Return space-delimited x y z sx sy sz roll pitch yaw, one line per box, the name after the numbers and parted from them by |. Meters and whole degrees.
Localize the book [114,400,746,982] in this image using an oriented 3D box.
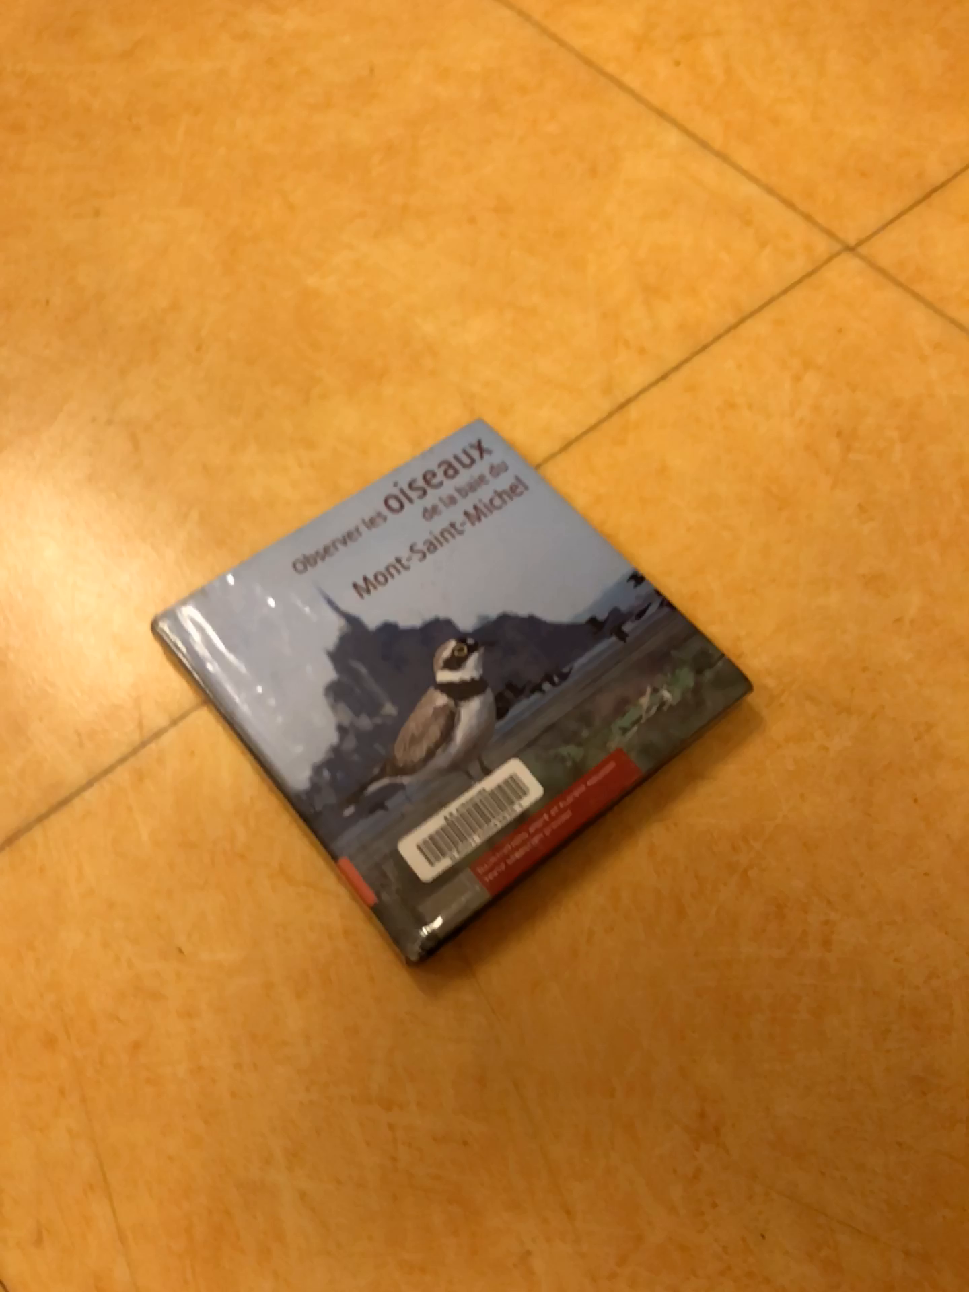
-0.020 0.004 0.376 0.153 0.015 0.156 -35 68 -18 | book
